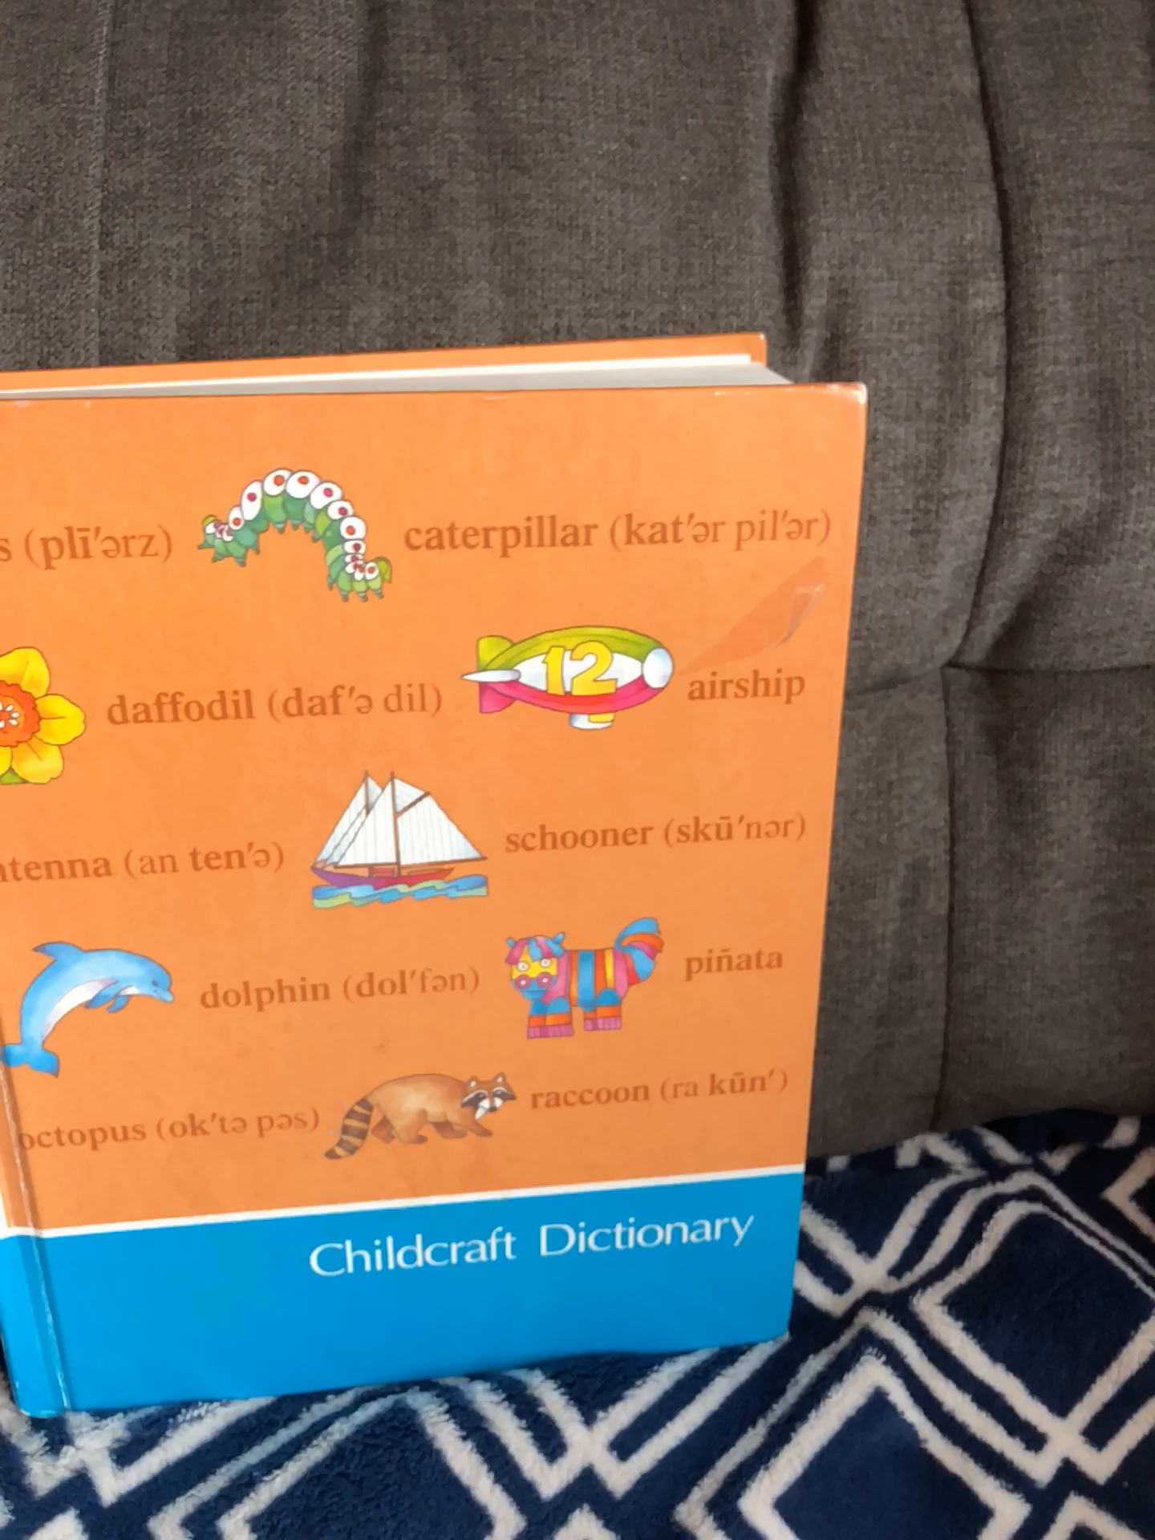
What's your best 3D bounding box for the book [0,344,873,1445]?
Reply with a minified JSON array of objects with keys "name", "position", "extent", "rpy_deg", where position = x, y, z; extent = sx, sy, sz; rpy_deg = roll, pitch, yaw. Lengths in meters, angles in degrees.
[{"name":"book","position":[-0.049,0.036,0.318],"extent":[0.210,0.260,0.055],"rpy_deg":[-3,23,-7]}]
